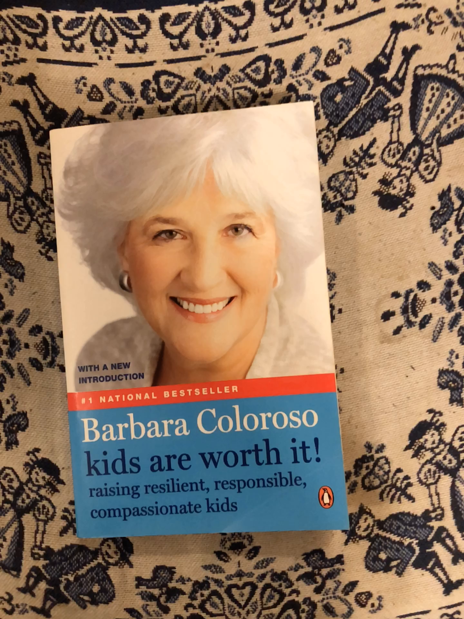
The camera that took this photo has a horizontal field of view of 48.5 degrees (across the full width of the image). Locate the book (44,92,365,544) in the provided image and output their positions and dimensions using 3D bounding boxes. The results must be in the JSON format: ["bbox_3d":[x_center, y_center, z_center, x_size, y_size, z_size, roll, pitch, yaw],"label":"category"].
[{"bbox_3d":[-0.015,0.006,0.286,0.150,0.050,0.220,-4,89,4],"label":"book"}]
